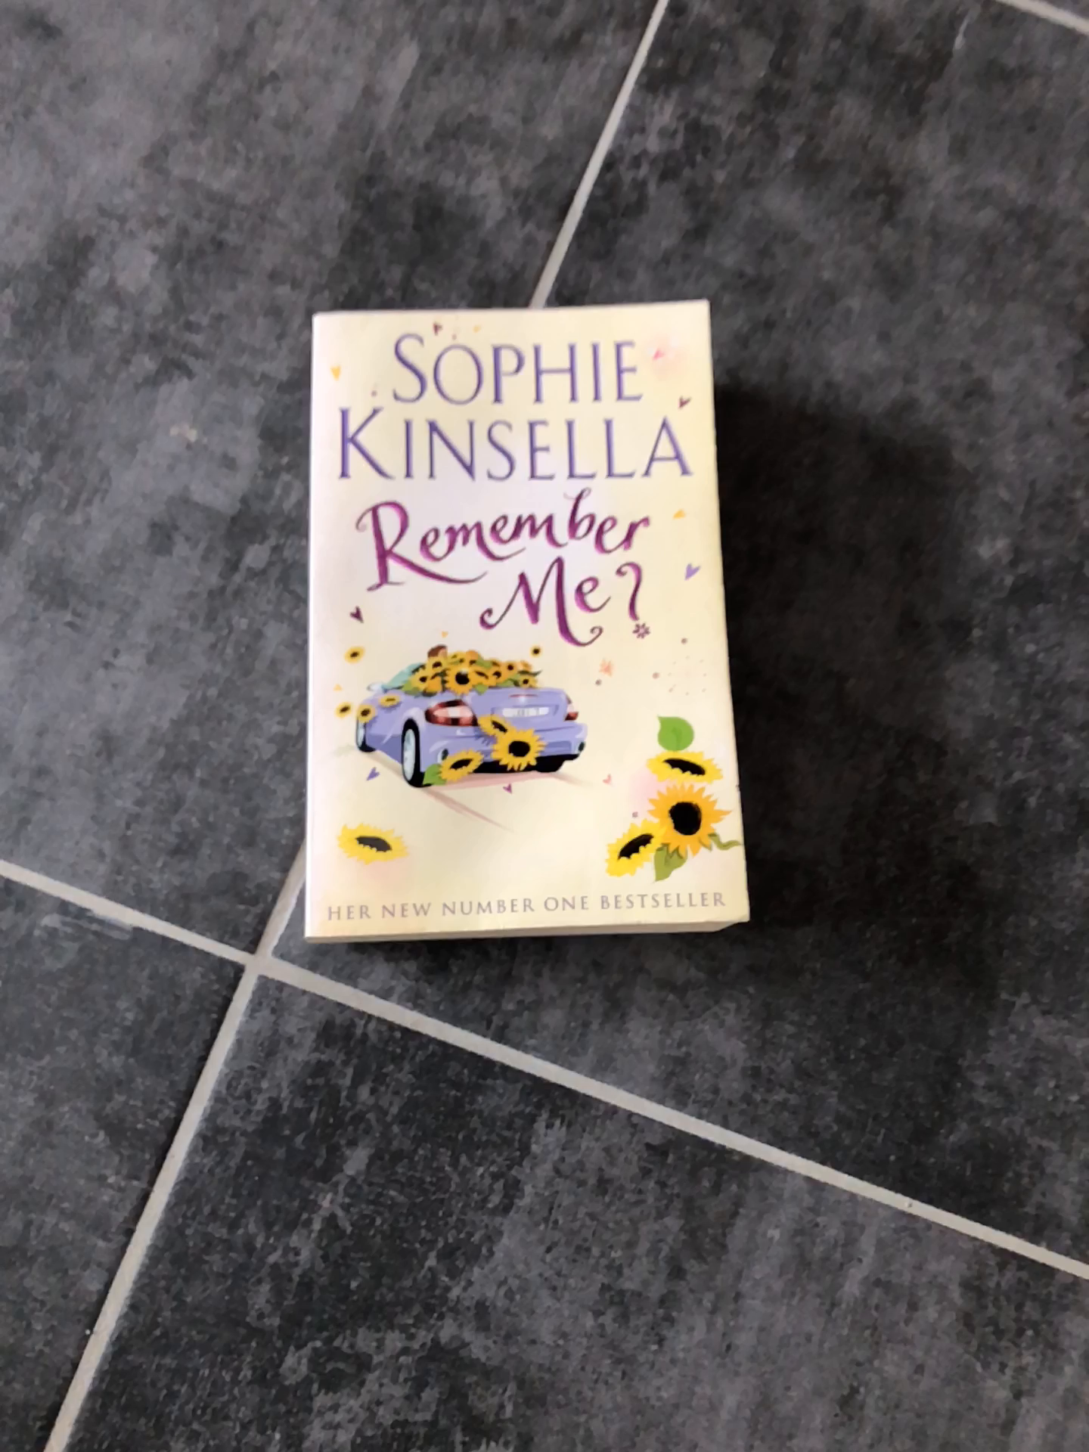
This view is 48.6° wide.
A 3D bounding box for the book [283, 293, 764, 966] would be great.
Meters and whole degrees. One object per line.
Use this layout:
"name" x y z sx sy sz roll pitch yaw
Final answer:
"book" -0.008 -0.031 0.369 0.130 0.040 0.200 -1 76 -1
